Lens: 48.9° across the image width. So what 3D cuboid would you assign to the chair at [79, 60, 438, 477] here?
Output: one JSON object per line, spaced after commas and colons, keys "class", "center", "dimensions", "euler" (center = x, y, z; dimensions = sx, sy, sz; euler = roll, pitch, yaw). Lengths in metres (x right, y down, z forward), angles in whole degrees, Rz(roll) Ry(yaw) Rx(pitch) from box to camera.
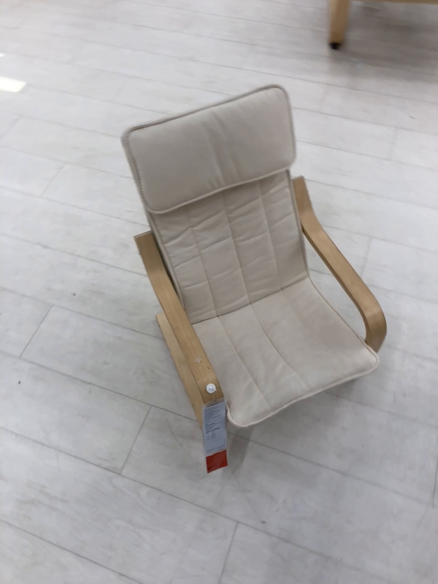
{"class": "chair", "center": [0.091, -0.015, 1.156], "dimensions": [0.530, 0.689, 0.561], "euler": [-22, 59, -12]}
